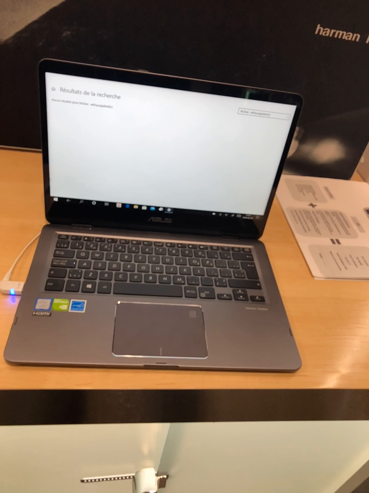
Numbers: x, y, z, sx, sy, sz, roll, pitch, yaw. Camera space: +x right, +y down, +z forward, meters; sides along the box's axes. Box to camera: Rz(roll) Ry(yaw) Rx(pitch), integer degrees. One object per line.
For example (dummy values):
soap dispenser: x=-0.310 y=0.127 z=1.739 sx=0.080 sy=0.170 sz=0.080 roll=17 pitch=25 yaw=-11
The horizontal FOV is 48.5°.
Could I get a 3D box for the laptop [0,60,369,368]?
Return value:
laptop: x=-0.014 y=-0.033 z=0.466 sx=0.320 sy=0.224 sz=0.240 roll=4 pitch=41 yaw=-9
